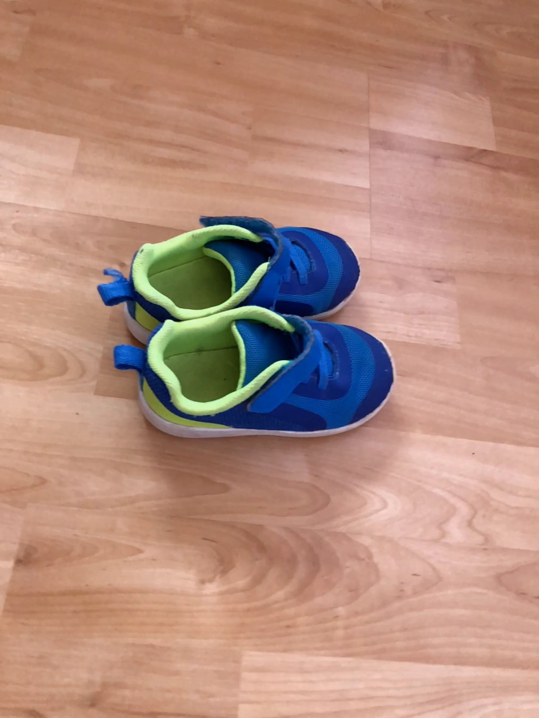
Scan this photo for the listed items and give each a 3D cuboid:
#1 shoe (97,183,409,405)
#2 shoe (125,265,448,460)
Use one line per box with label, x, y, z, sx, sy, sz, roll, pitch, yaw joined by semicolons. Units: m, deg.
shoe;-0.013;-0.041;0.367;0.160;0.070;0.080;-15;69;-18
shoe;0.003;0.002;0.340;0.160;0.070;0.080;-3;66;-13
